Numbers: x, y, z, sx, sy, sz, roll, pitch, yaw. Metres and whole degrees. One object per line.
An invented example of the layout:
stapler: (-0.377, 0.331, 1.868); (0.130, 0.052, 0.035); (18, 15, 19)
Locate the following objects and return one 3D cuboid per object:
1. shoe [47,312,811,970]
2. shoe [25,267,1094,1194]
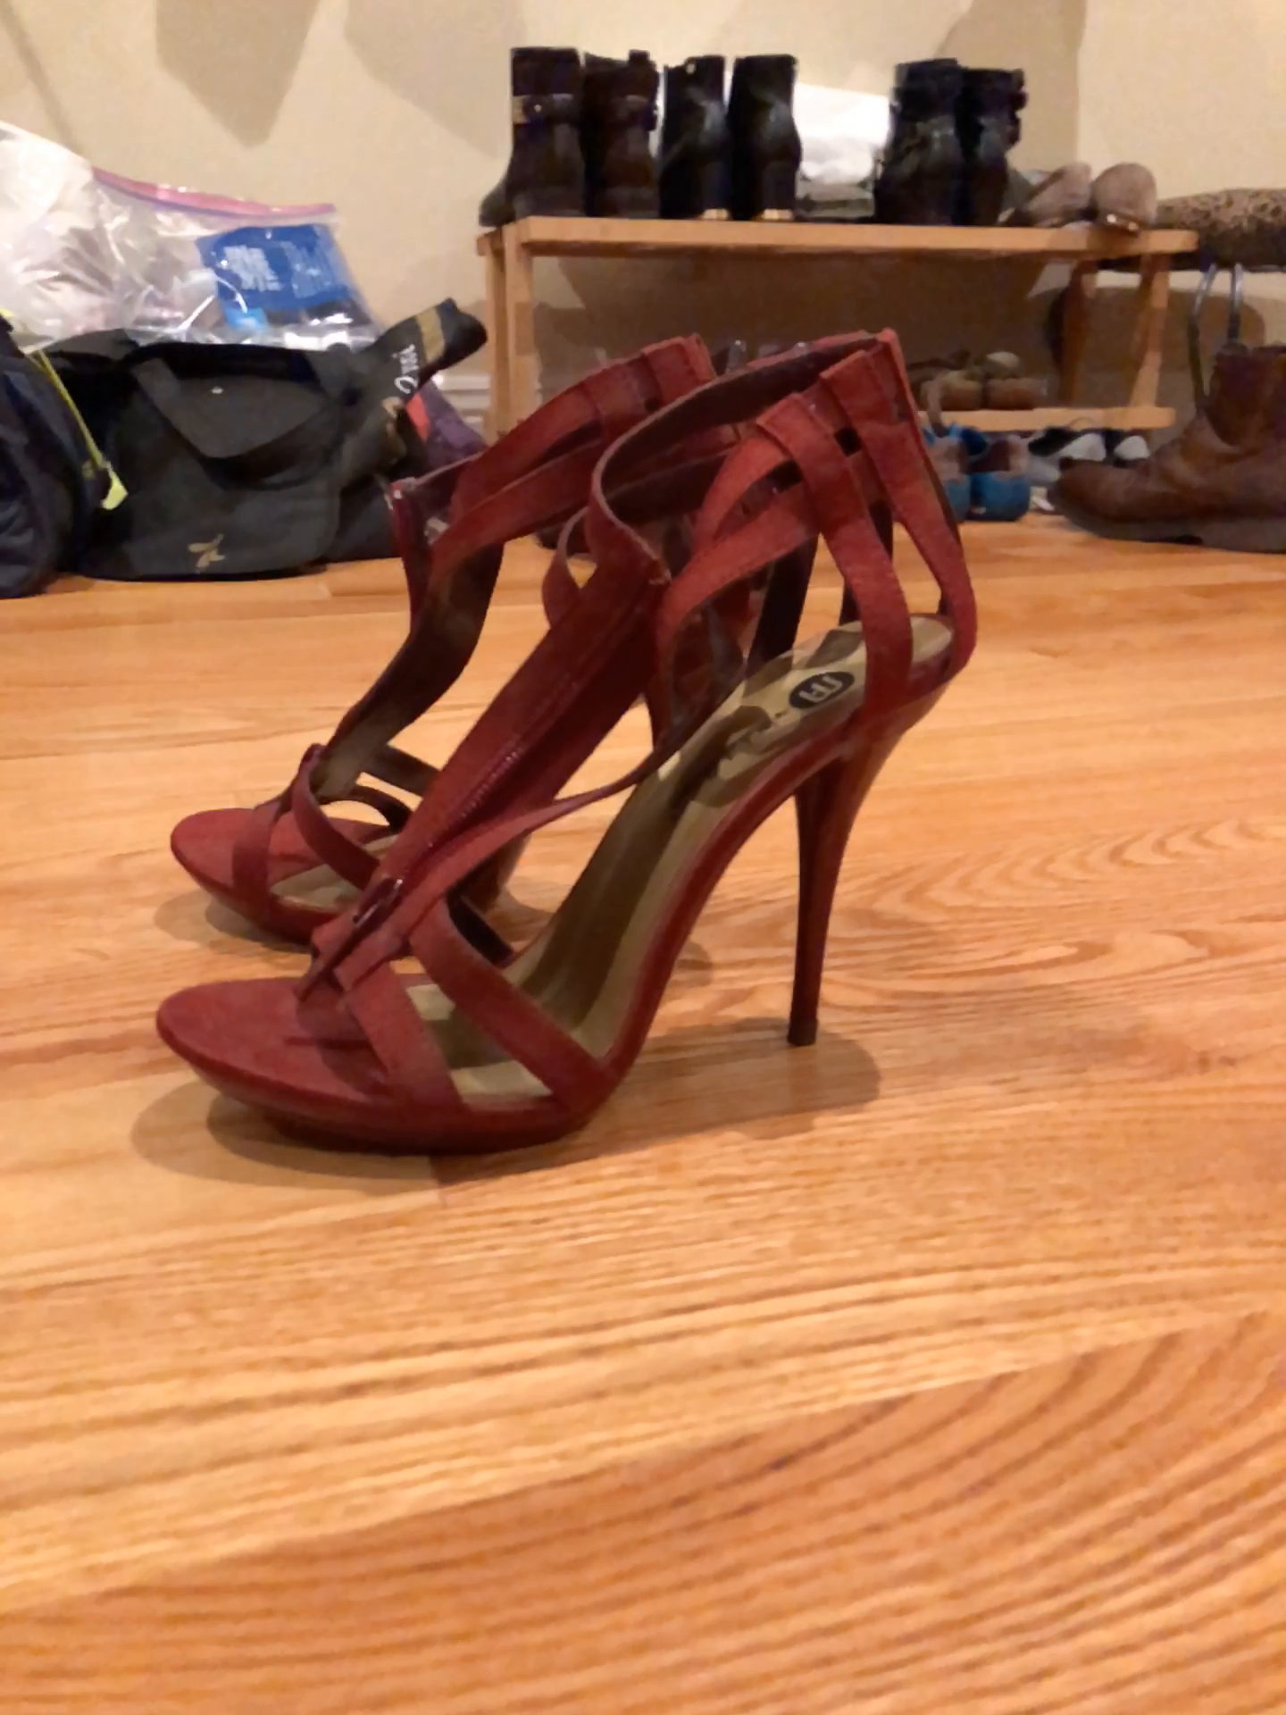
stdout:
shoe: (-0.054, -0.070, 0.429); (0.199, 0.175, 0.085); (3, 19, 8)
shoe: (-0.017, -0.039, 0.330); (0.206, 0.175, 0.085); (-6, 20, -17)
